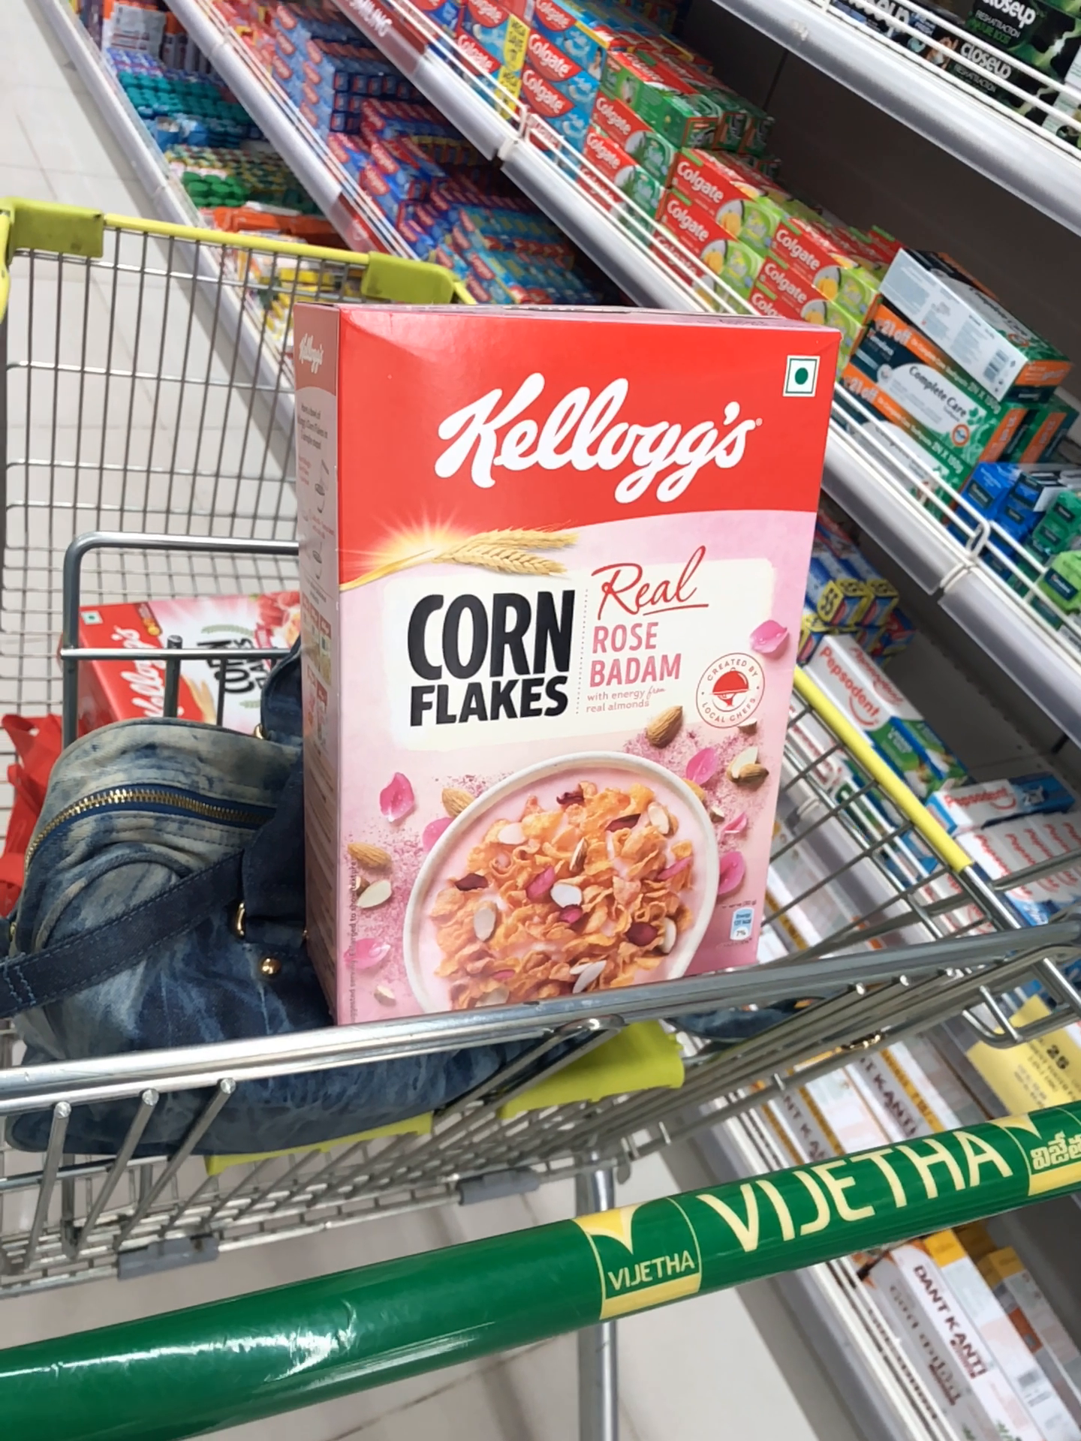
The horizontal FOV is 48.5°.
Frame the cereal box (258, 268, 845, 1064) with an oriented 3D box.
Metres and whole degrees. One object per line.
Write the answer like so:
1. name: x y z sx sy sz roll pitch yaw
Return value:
1. cereal box: -0.006 -0.019 0.468 0.190 0.279 0.070 -6 26 -24
